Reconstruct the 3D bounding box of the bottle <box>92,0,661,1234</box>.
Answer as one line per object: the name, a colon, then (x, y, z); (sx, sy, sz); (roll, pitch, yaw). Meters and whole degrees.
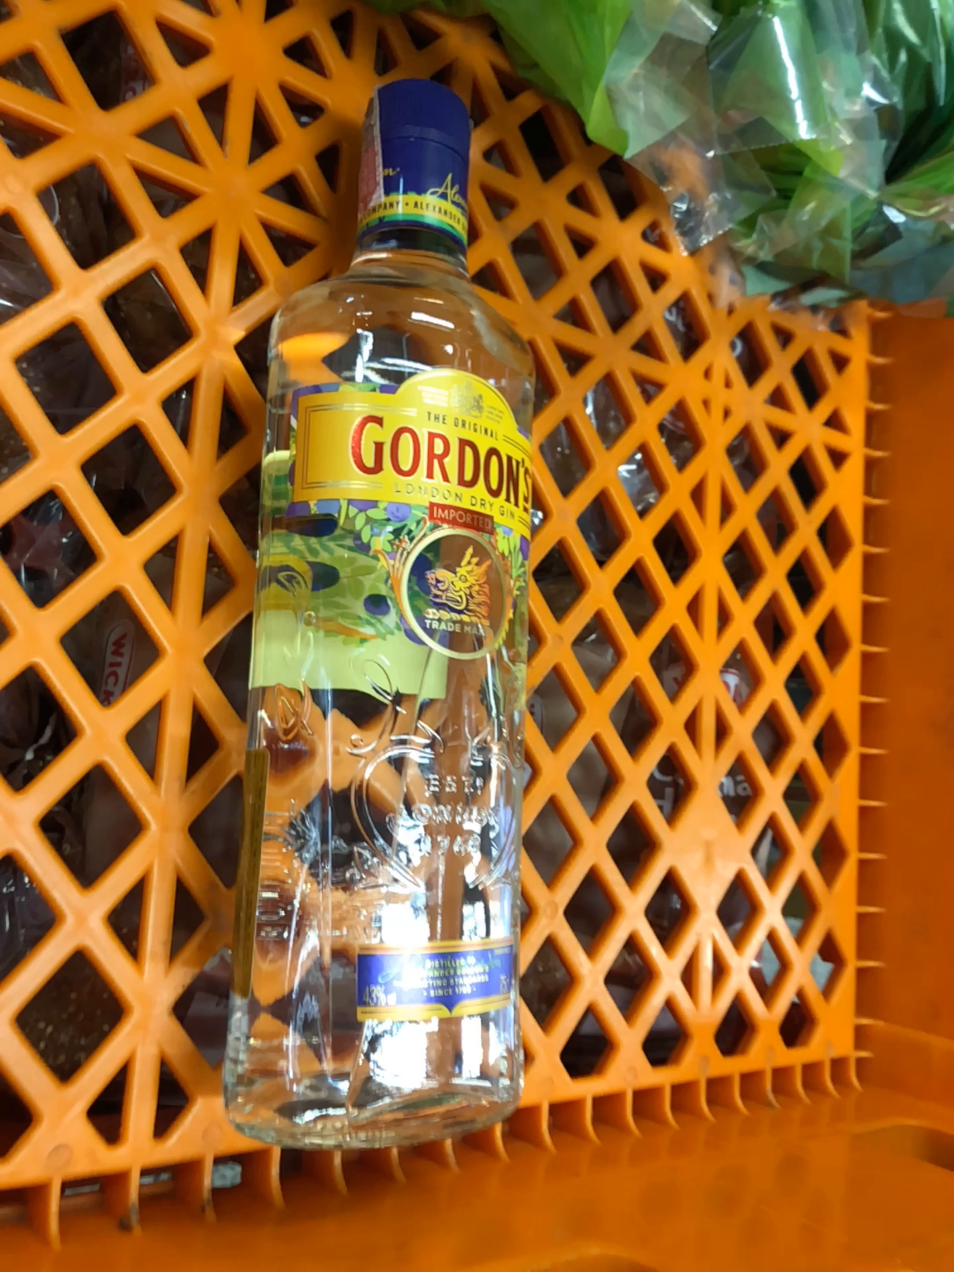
bottle: (-0.025, -0.028, 0.297); (0.101, 0.099, 0.310); (9, 81, -39)
